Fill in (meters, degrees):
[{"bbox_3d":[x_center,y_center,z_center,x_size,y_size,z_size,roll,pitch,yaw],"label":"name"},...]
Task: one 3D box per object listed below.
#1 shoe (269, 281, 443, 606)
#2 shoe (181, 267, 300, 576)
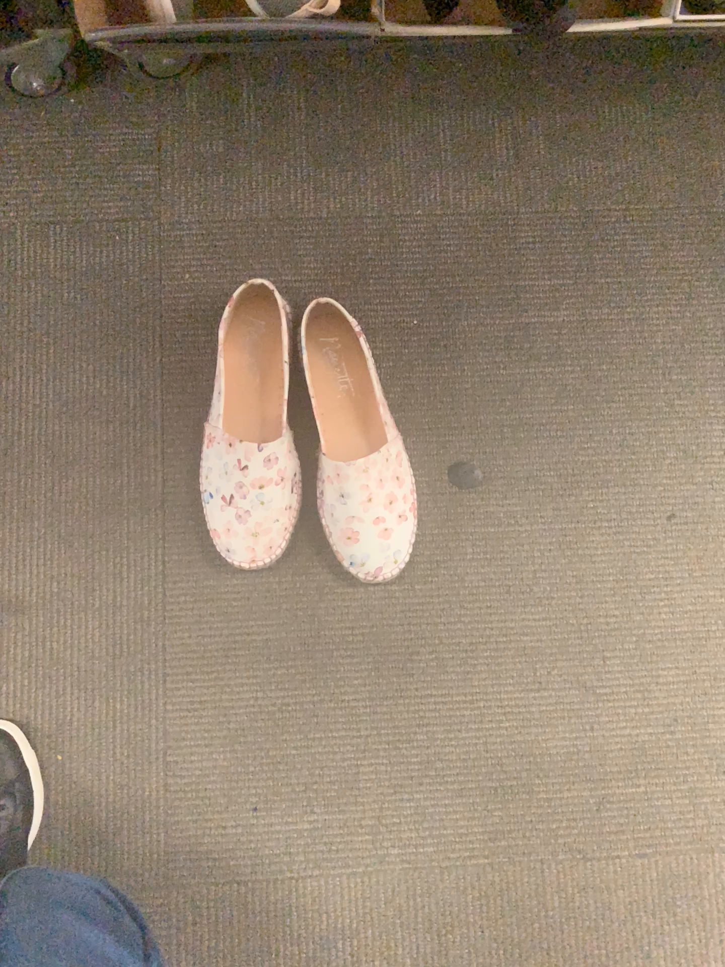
[{"bbox_3d":[-0.008,-0.032,0.655,0.091,0.080,0.263,-12,83,-3],"label":"shoe"},{"bbox_3d":[-0.105,-0.051,0.657,0.091,0.080,0.263,-1,82,-1],"label":"shoe"}]
